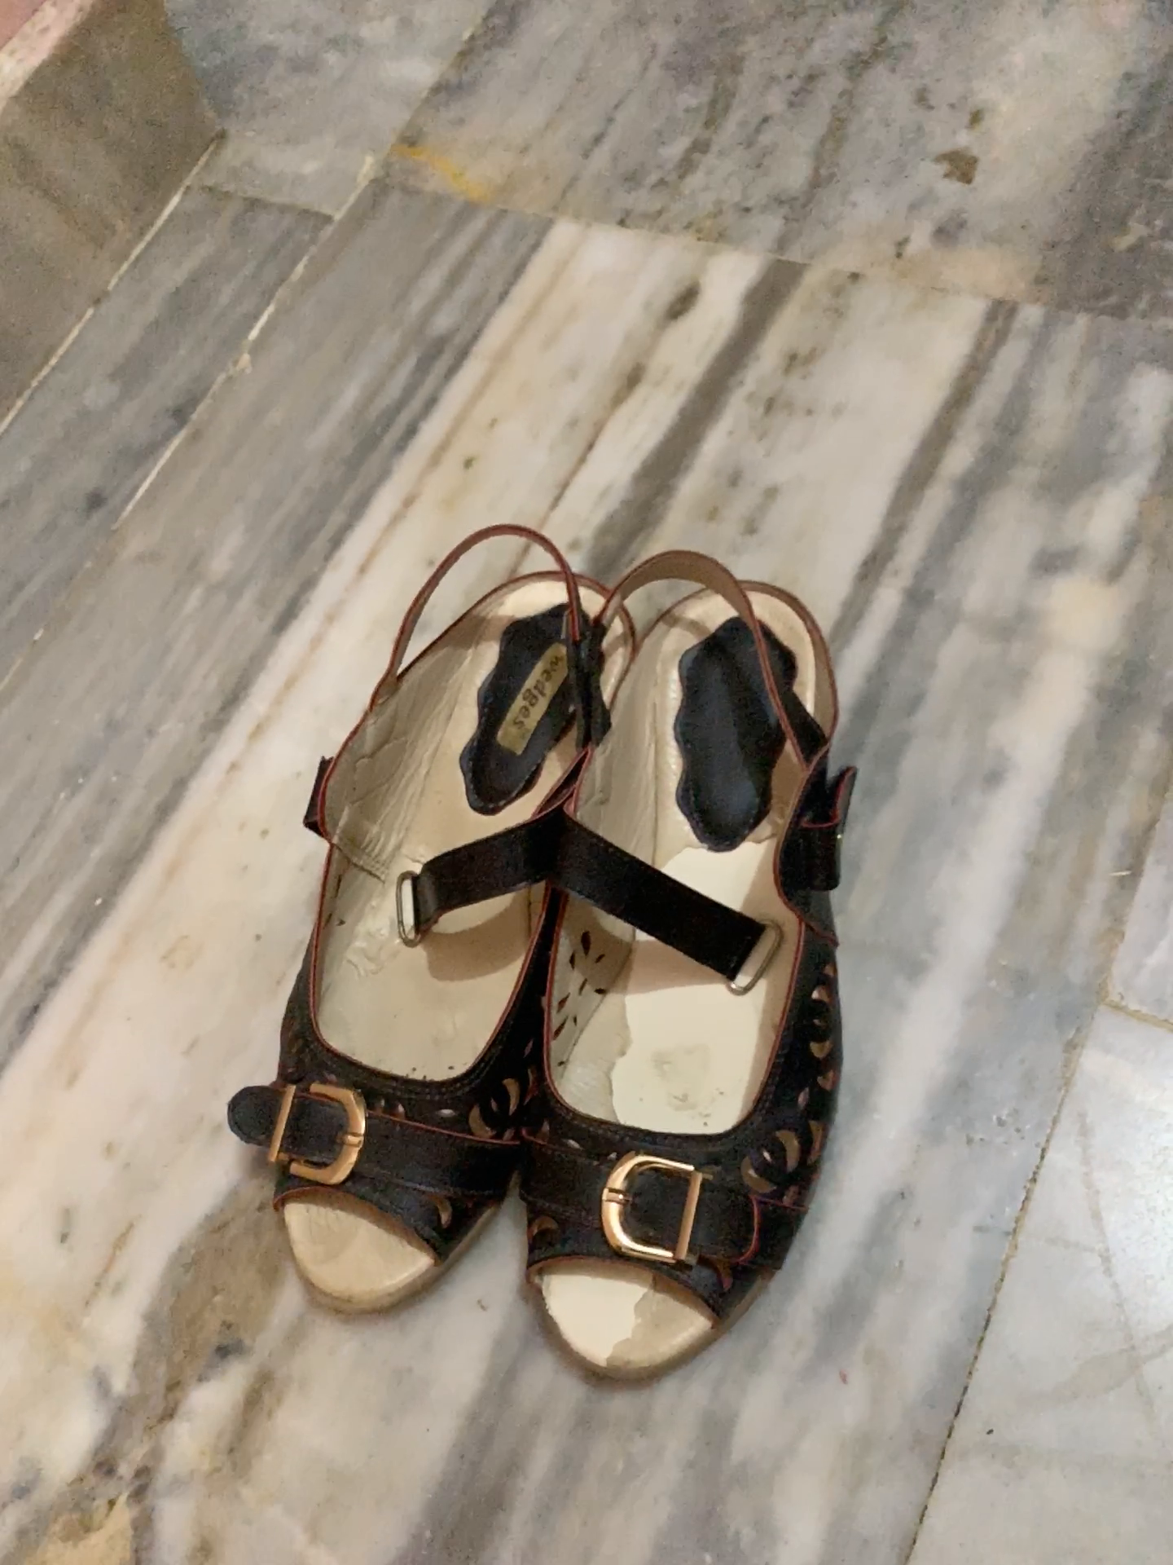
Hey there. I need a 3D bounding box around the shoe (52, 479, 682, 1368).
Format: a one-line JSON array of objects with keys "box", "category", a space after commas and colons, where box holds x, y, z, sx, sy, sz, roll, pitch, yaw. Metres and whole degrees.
[{"box": [-0.052, 0.039, 0.400, 0.100, 0.100, 0.260, 9, 66, 17], "category": "shoe"}]

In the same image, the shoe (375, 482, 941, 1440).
[{"box": [0.038, 0.046, 0.377, 0.100, 0.100, 0.260, 9, 66, 17], "category": "shoe"}]
